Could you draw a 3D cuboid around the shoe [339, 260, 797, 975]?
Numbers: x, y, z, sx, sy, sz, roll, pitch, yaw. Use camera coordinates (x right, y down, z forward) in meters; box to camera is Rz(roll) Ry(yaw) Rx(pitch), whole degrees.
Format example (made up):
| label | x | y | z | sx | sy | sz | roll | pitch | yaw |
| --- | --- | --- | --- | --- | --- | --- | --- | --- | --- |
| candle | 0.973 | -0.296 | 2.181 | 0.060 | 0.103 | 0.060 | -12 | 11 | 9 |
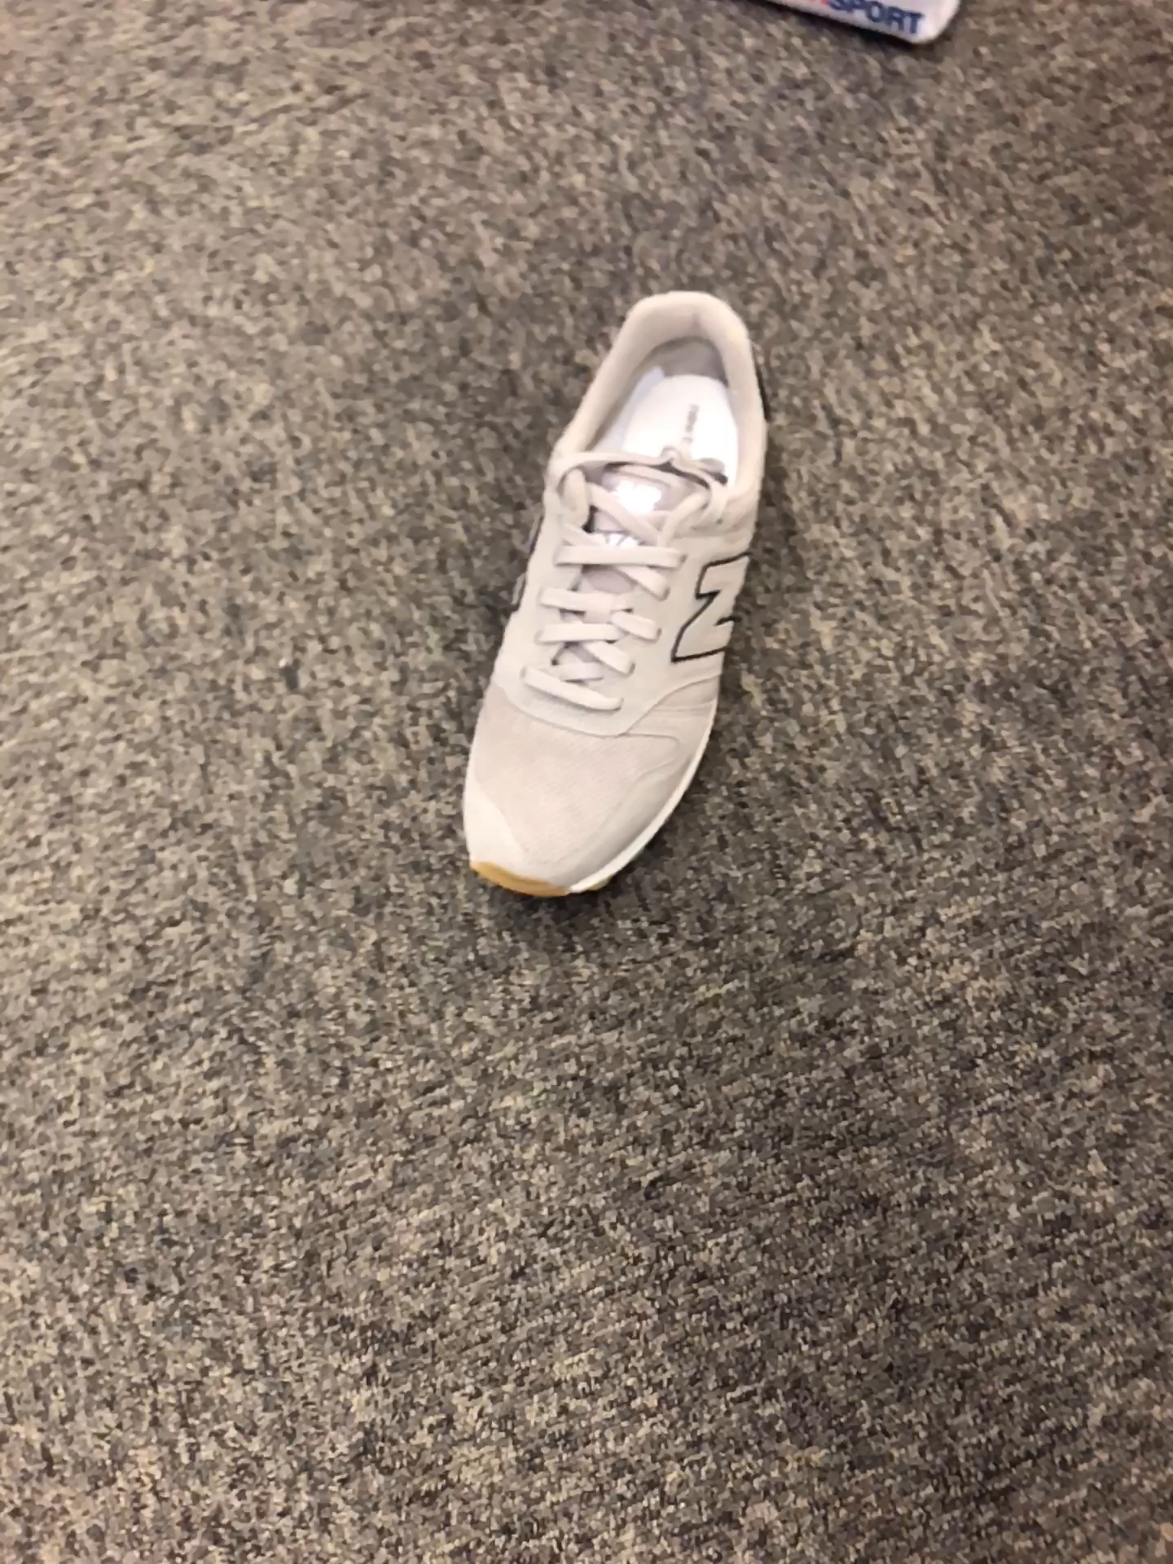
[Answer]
| label | x | y | z | sx | sy | sz | roll | pitch | yaw |
| --- | --- | --- | --- | --- | --- | --- | --- | --- | --- |
| shoe | 0.003 | -0.067 | 0.544 | 0.100 | 0.110 | 0.261 | 15 | 74 | 10 |
